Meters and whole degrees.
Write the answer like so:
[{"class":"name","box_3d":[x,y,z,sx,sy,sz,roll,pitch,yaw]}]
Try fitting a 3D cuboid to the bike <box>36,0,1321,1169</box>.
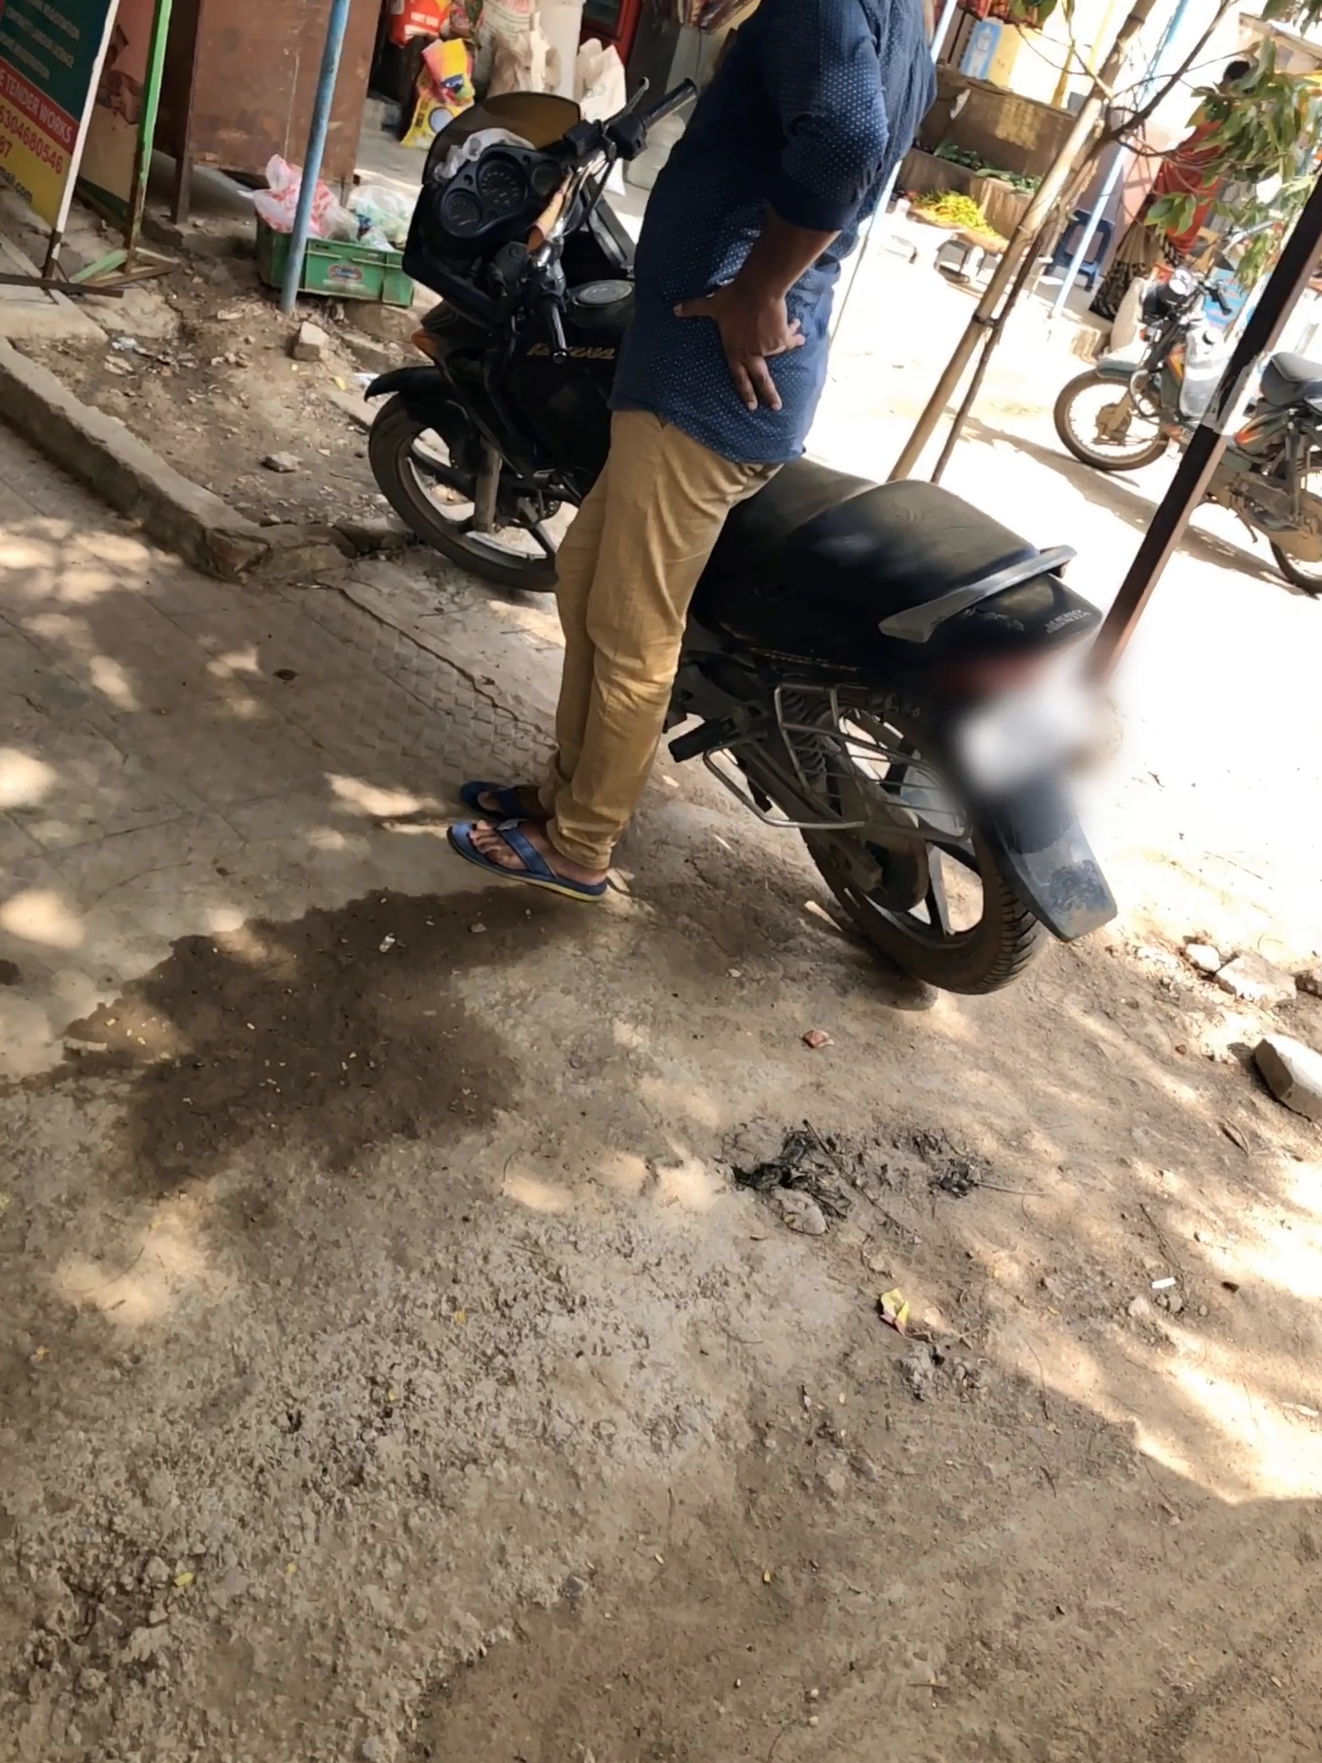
[{"class":"bike","box_3d":[-0.181,-0.705,2.377,0.801,1.176,1.893,-13,45,-42]}]
